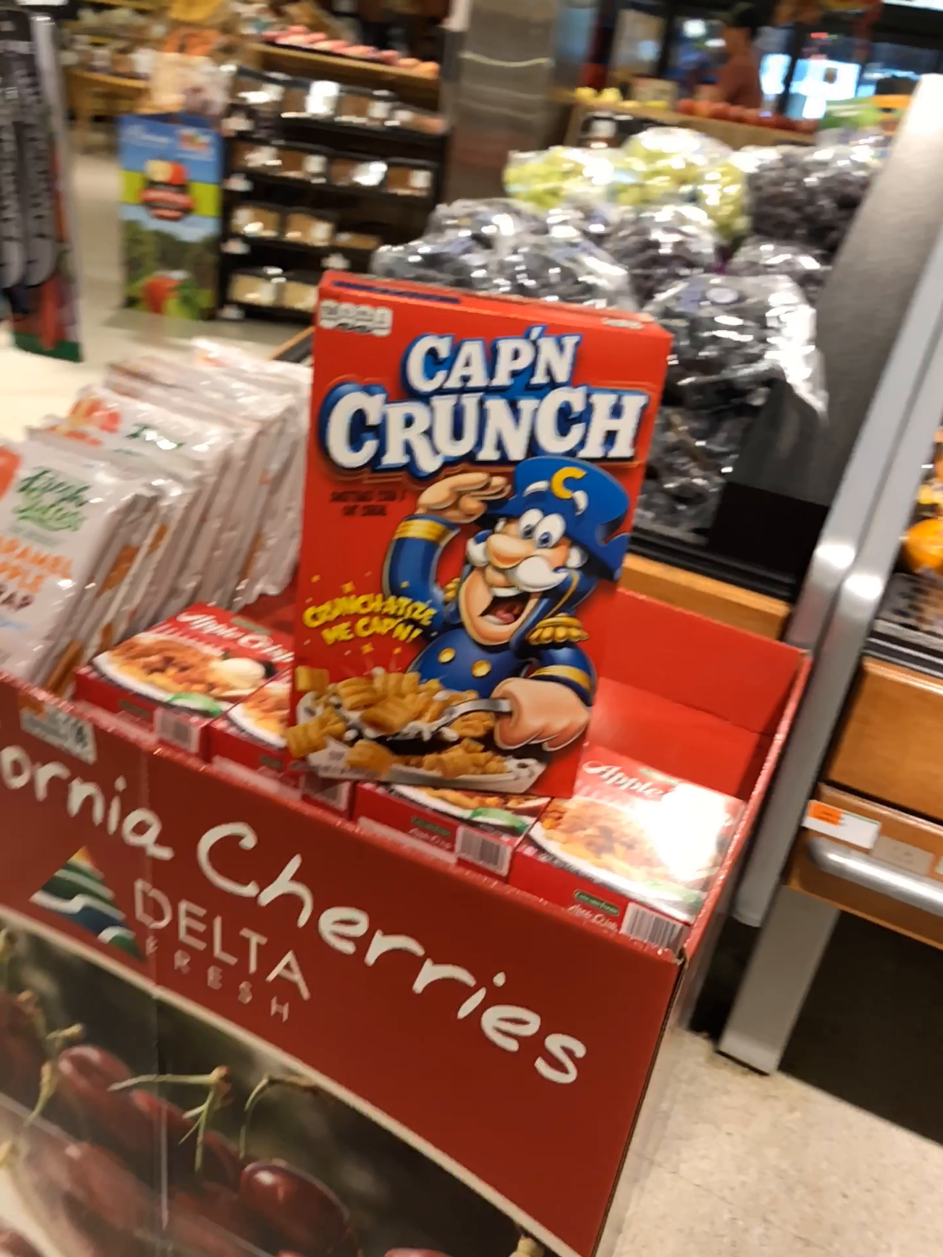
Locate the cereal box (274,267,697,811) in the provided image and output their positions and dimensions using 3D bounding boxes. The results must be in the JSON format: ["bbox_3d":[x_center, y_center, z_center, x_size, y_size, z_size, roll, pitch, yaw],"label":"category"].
[{"bbox_3d":[-0.005,-0.046,0.680,0.220,0.328,0.070,6,25,-5],"label":"cereal box"}]
